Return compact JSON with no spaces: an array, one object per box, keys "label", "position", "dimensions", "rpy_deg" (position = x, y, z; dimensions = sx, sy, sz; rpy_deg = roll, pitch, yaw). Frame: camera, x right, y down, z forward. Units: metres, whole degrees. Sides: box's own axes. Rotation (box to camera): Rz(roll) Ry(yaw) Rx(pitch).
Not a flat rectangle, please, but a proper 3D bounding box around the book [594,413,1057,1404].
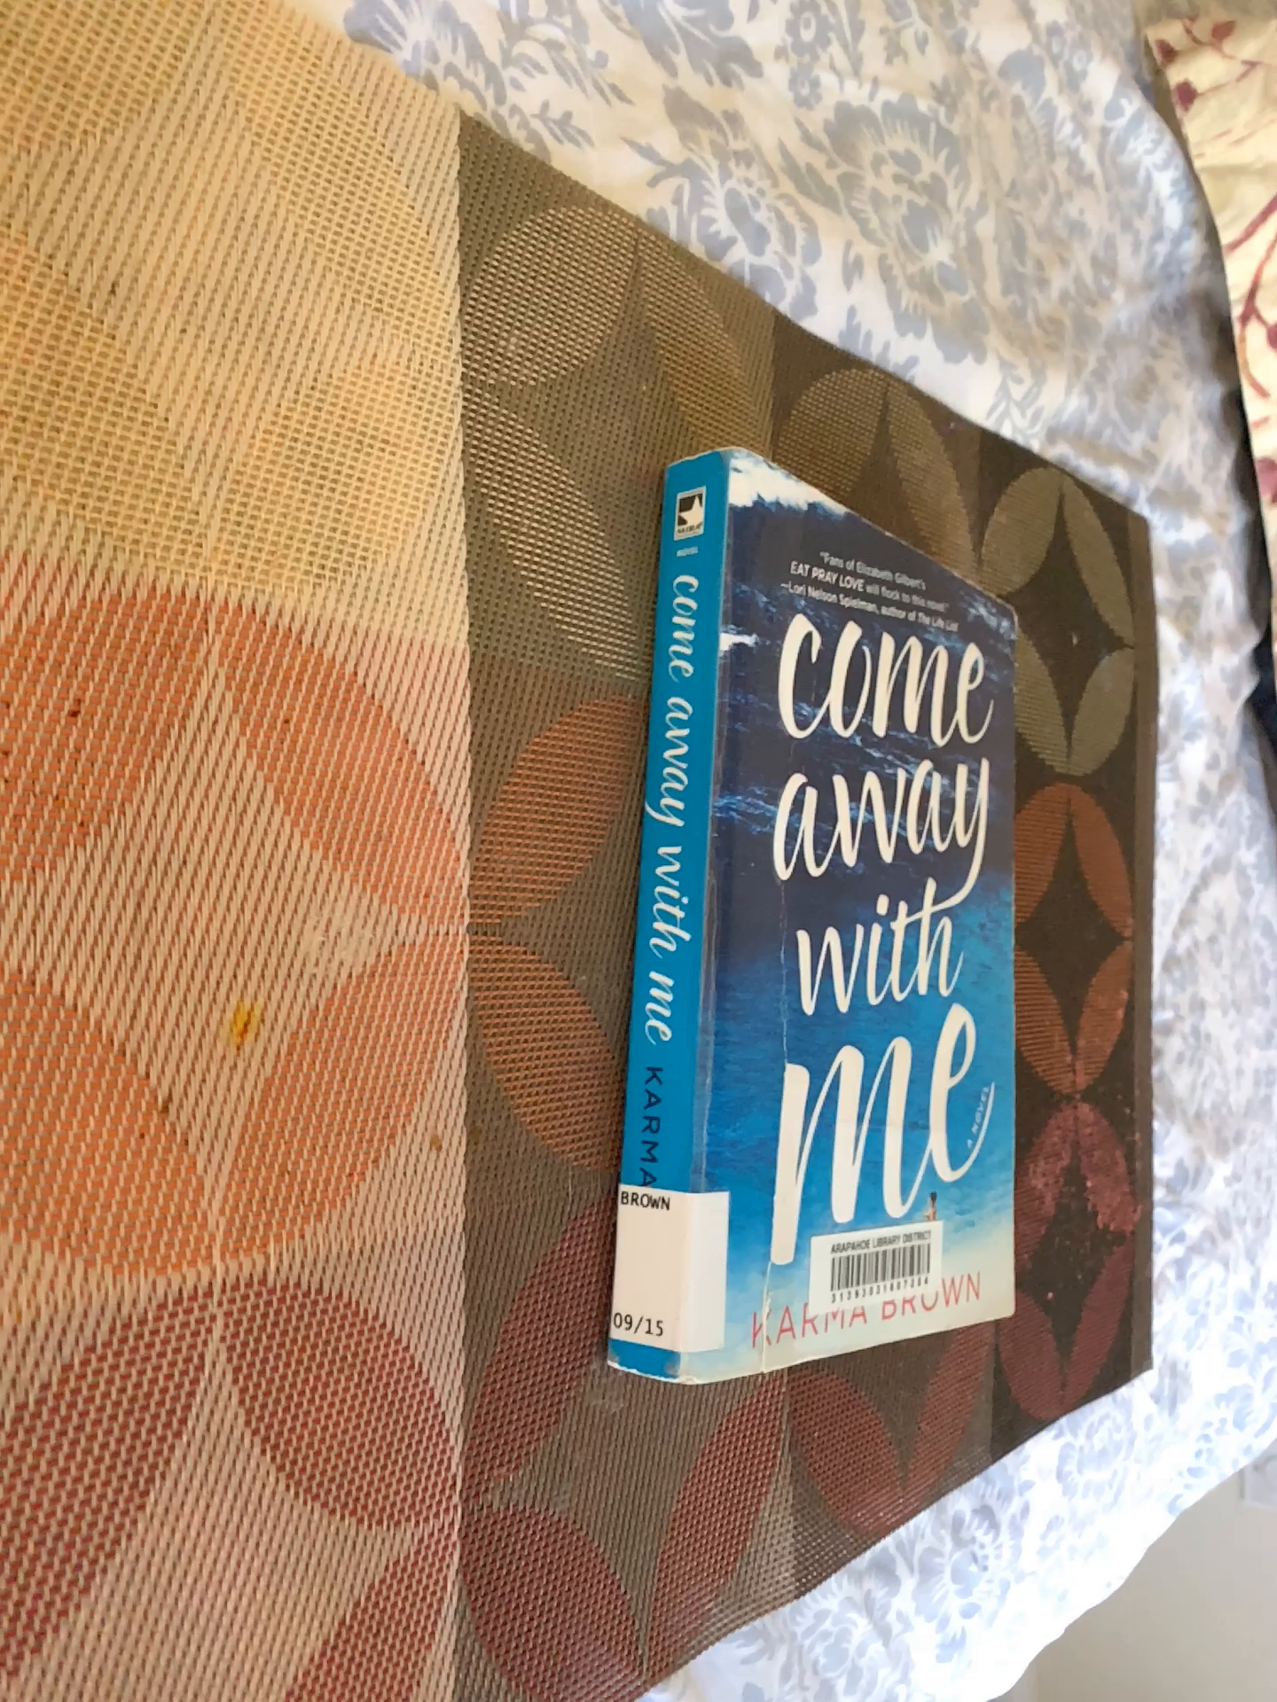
[{"label":"book","position":[0.055,0.017,0.323],"dimensions":[0.135,0.030,0.200],"rpy_deg":[12,79,-45]}]
